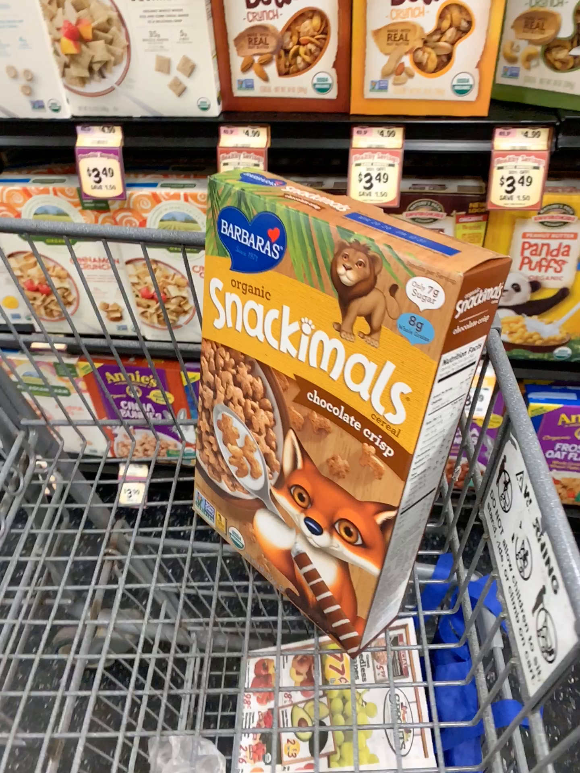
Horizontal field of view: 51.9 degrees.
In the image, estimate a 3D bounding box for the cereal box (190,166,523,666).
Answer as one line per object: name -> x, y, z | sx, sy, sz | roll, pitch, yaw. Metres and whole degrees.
cereal box -> 0.013, 0.020, 0.384 | 0.050, 0.269, 0.180 | -23, 43, -40
